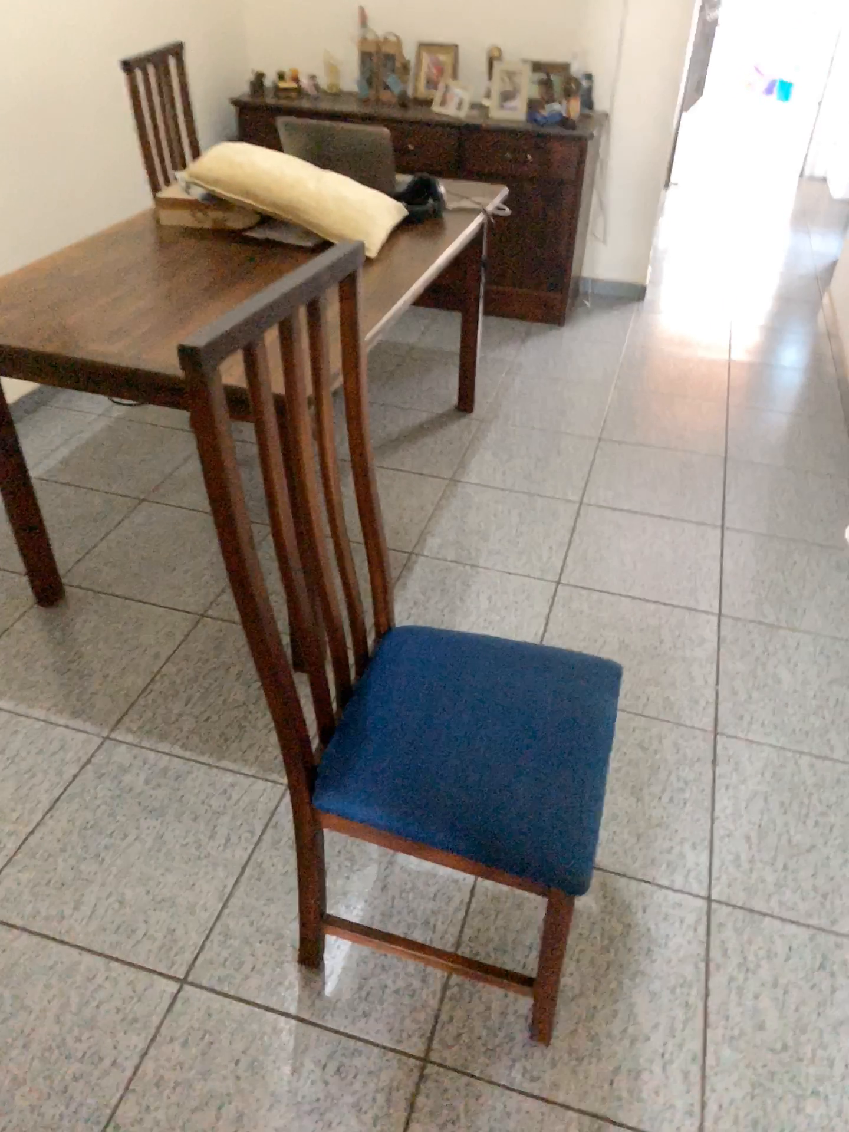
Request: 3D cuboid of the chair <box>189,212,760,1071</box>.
[{"bbox_3d":[0.073,0.150,1.264,0.520,1.123,0.473,12,36,13],"label":"chair"}]
